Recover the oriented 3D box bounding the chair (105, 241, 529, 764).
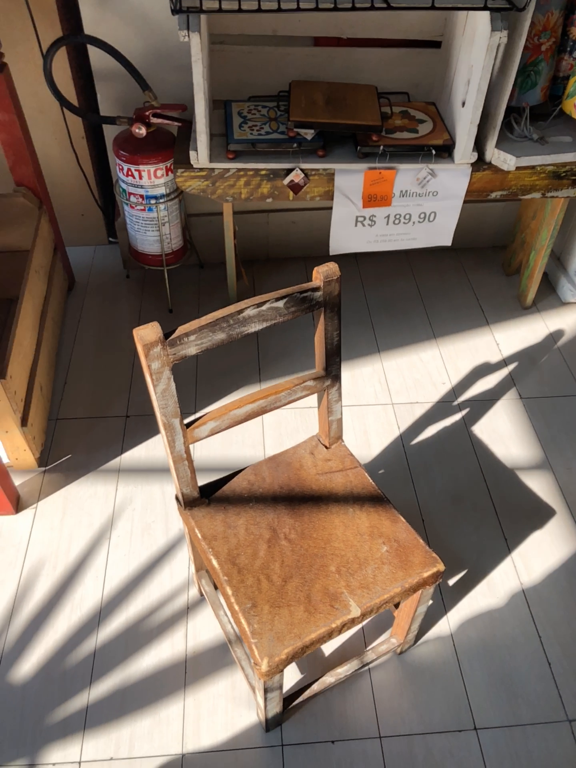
[{"bbox_3d":[0.010,0.186,0.864,0.301,0.596,0.341,-23,50,-21],"label":"chair"}]
